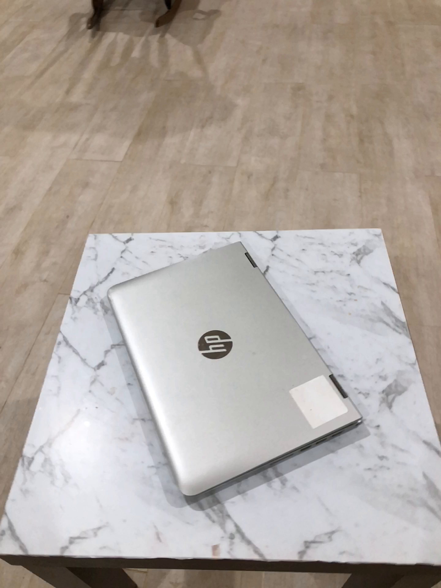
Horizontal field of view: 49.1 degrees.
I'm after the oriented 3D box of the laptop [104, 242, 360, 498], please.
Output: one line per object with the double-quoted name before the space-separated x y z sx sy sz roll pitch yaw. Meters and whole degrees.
"laptop" -0.005 0.059 0.568 0.197 0.001 0.293 -20 50 -13
